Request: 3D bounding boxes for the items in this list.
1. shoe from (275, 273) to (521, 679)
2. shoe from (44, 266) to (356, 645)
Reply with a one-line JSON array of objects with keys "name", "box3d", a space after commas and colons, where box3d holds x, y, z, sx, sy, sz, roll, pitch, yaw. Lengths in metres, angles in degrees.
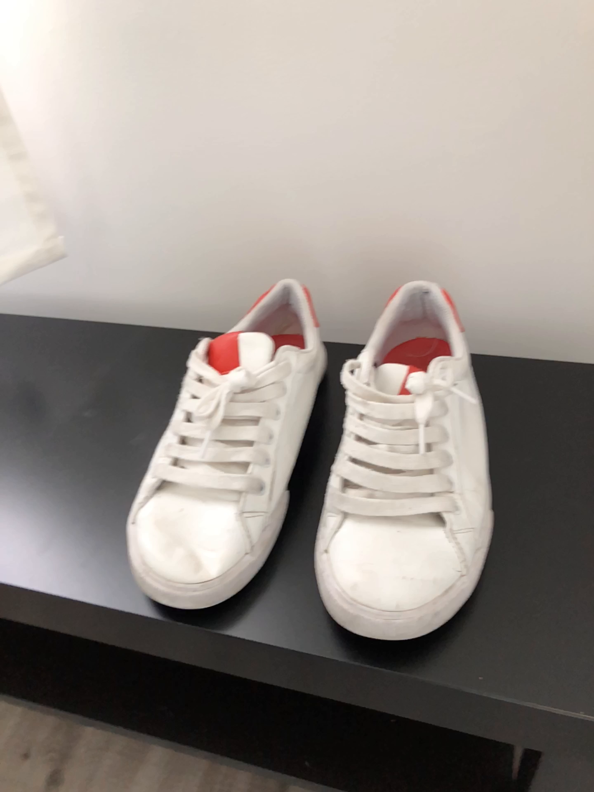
[{"name": "shoe", "box3d": [0.072, 0.026, 0.385, 0.100, 0.080, 0.230, 5, 43, 15]}, {"name": "shoe", "box3d": [-0.038, 0.017, 0.412, 0.102, 0.080, 0.236, 5, 43, 15]}]
